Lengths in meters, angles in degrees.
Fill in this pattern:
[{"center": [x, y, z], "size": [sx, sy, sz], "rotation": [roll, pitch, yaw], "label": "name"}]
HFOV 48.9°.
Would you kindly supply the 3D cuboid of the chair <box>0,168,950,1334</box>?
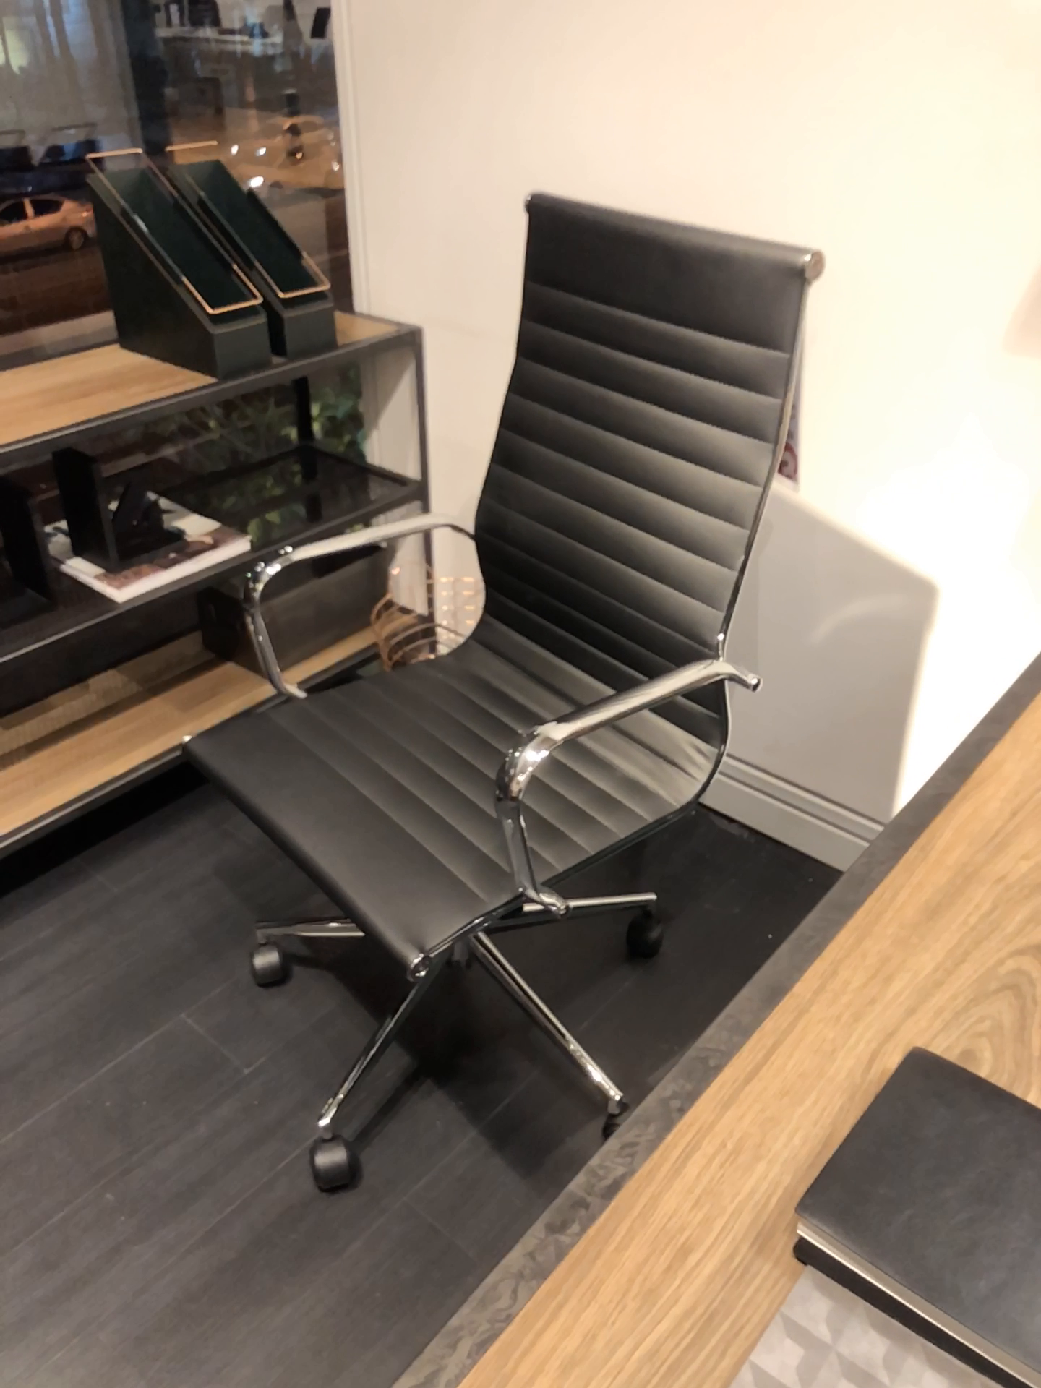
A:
[{"center": [-0.068, 0.008, 1.391], "size": [0.662, 1.052, 0.683], "rotation": [-24, 39, -33], "label": "chair"}]
